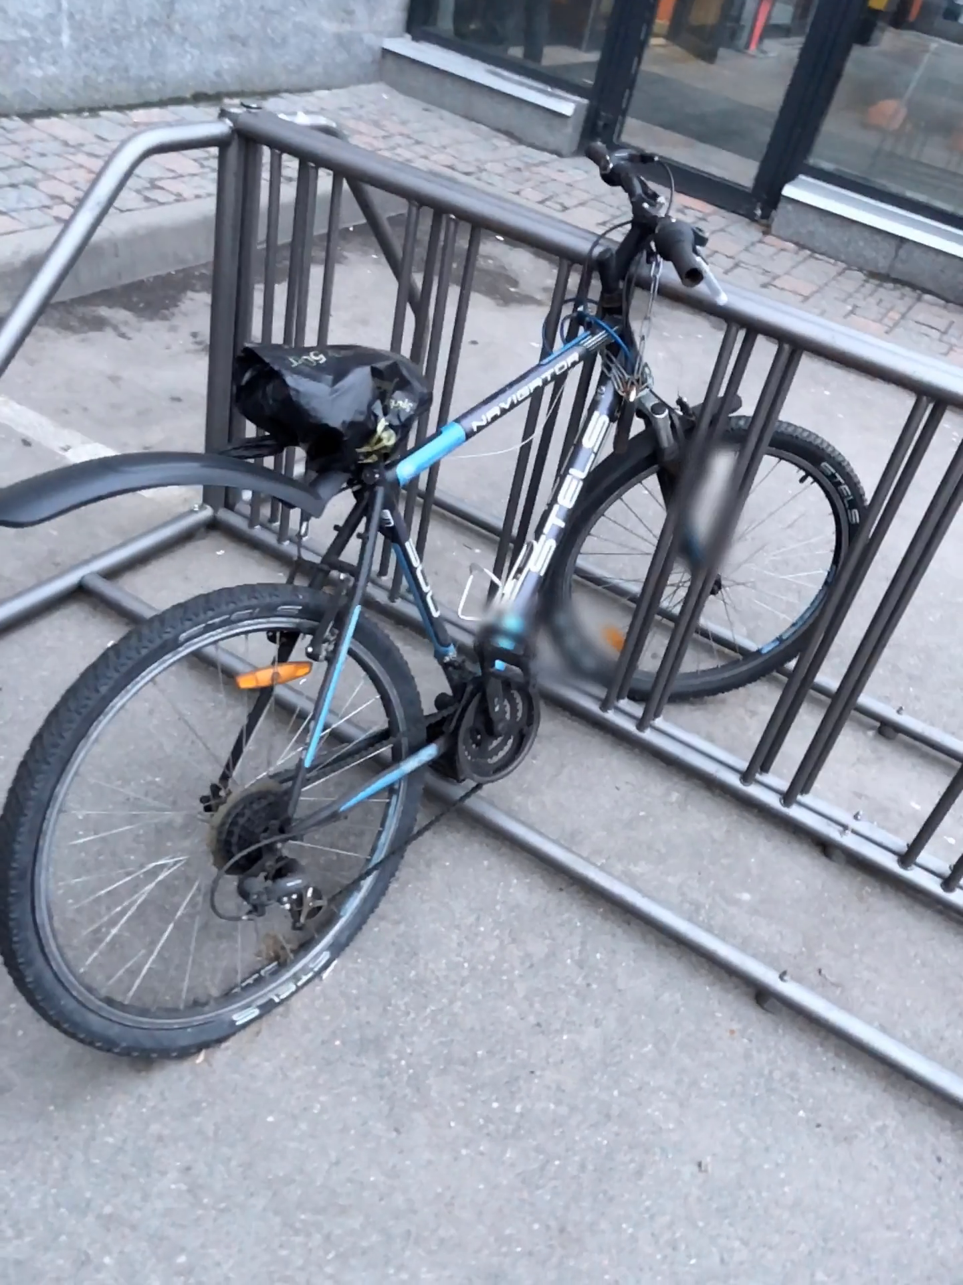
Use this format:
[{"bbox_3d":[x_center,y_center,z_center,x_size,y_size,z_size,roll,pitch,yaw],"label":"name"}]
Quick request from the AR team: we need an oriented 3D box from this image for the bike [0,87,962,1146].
[{"bbox_3d":[-0.008,-0.165,1.581,1.589,1.050,0.536,-20,49,-34],"label":"bike"}]
